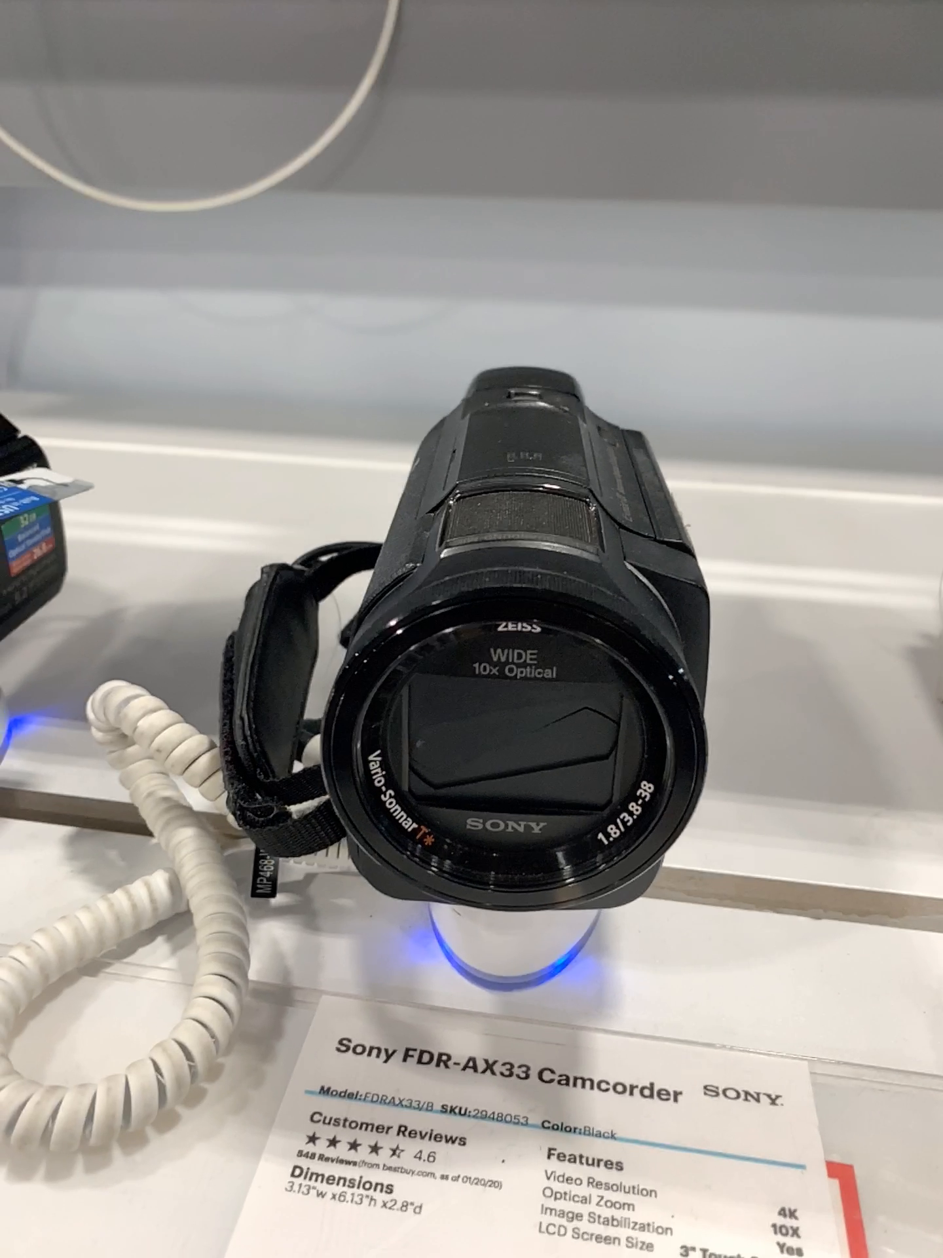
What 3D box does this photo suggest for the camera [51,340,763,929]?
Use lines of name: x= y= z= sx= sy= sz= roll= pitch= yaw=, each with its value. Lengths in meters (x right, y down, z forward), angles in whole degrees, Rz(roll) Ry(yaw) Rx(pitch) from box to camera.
camera: x=-0.006 y=-0.013 z=0.217 sx=0.102 sy=0.067 sz=0.136 roll=3 pitch=28 yaw=3
